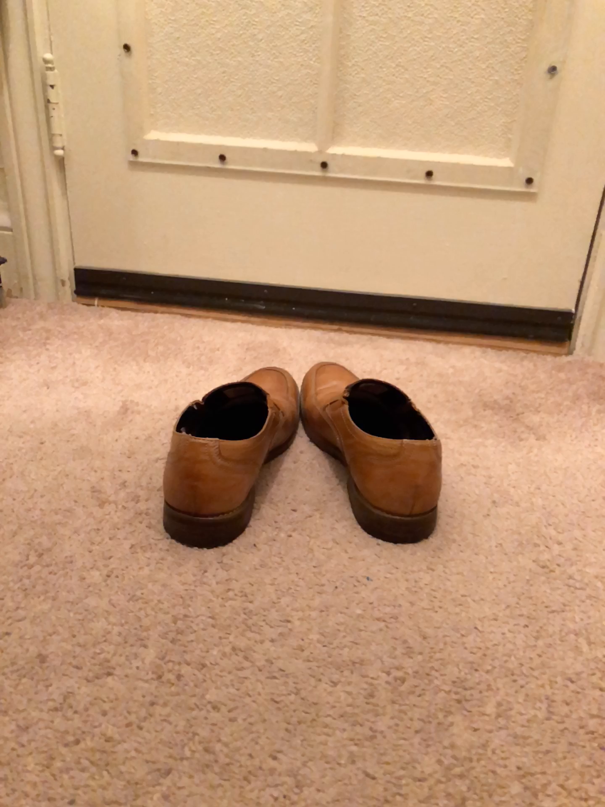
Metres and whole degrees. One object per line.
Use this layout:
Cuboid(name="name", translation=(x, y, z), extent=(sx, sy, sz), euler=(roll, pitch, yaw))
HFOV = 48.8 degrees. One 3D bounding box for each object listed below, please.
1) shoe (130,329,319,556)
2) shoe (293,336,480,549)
Cuboid(name="shoe", translation=(-0.060, 0.016, 0.677), extent=(0.100, 0.090, 0.322), euler=(7, 23, 8))
Cuboid(name="shoe", translation=(0.066, 0.019, 0.693), extent=(0.107, 0.089, 0.312), euler=(-1, 23, -9))
